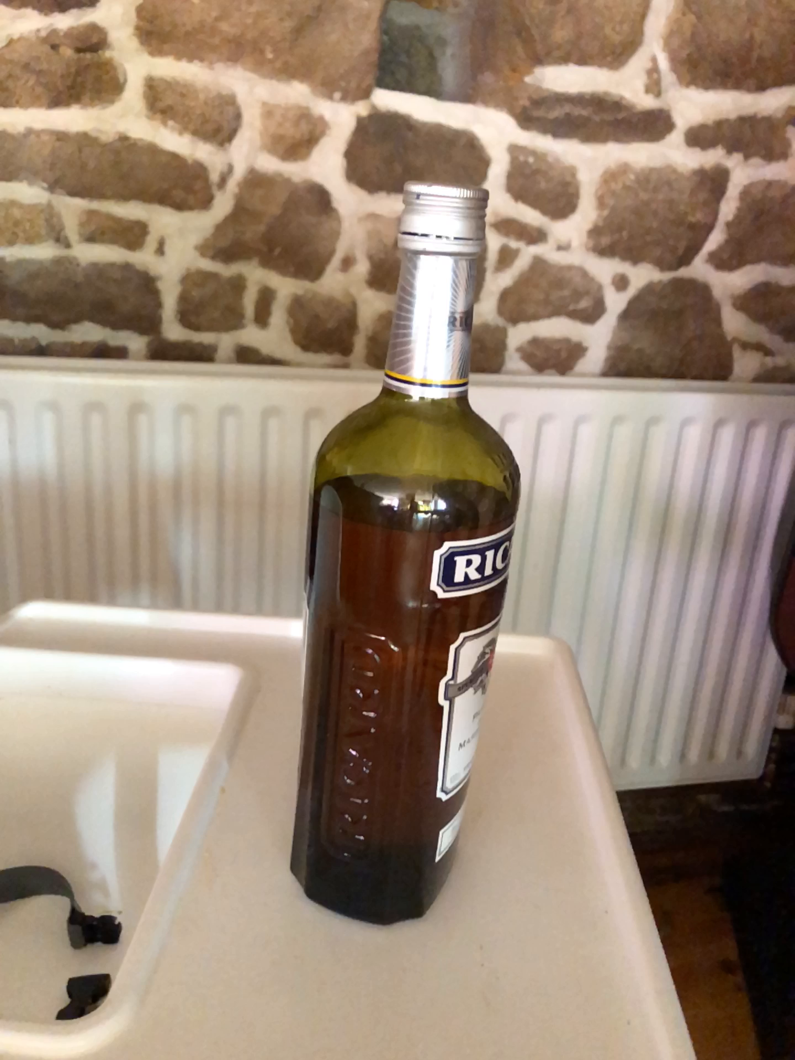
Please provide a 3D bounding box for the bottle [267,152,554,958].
[{"bbox_3d":[0.002,0.013,0.357,0.070,0.299,0.091,10,21,17],"label":"bottle"}]
